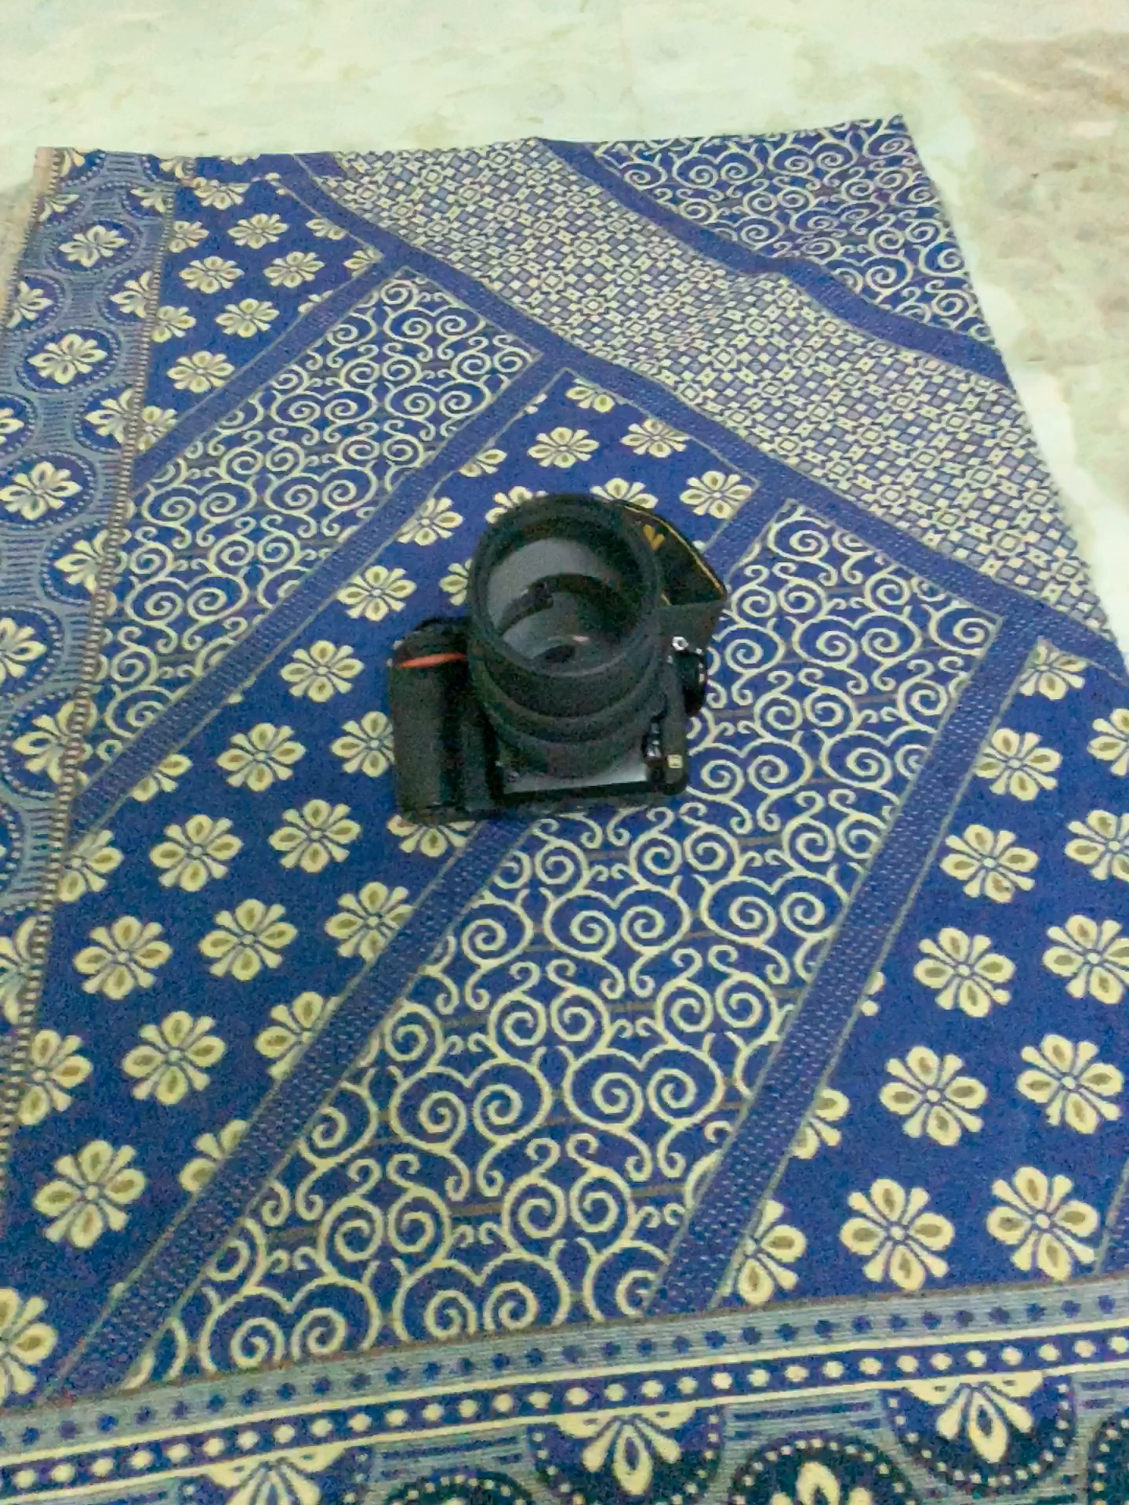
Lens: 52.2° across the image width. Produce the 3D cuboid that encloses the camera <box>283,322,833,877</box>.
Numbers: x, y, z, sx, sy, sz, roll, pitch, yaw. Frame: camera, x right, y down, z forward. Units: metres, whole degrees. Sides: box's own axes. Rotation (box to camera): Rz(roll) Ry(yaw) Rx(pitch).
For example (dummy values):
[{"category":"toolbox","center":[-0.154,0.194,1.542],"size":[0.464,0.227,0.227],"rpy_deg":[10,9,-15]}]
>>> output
[{"category":"camera","center":[-0.005,-0.043,0.446],"size":[0.160,0.191,0.130],"rpy_deg":[-4,71,-1]}]
